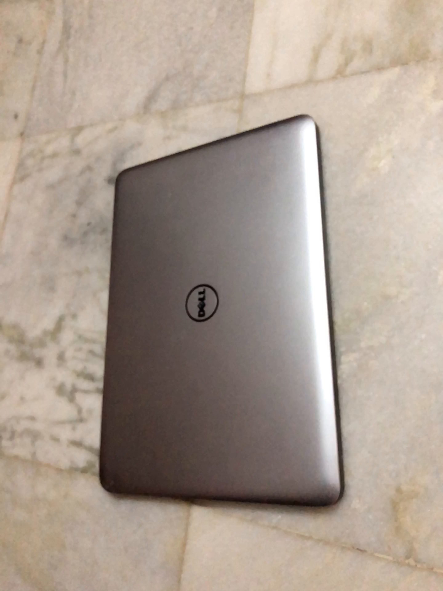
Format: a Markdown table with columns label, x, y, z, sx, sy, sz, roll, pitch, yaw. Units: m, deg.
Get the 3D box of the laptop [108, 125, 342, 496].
| label | x | y | z | sx | sy | sz | roll | pitch | yaw |
| --- | --- | --- | --- | --- | --- | --- | --- | --- | --- |
| laptop | -0.012 | 0.014 | 0.503 | 0.244 | 0.002 | 0.346 | -9 | 72 | 27 |
